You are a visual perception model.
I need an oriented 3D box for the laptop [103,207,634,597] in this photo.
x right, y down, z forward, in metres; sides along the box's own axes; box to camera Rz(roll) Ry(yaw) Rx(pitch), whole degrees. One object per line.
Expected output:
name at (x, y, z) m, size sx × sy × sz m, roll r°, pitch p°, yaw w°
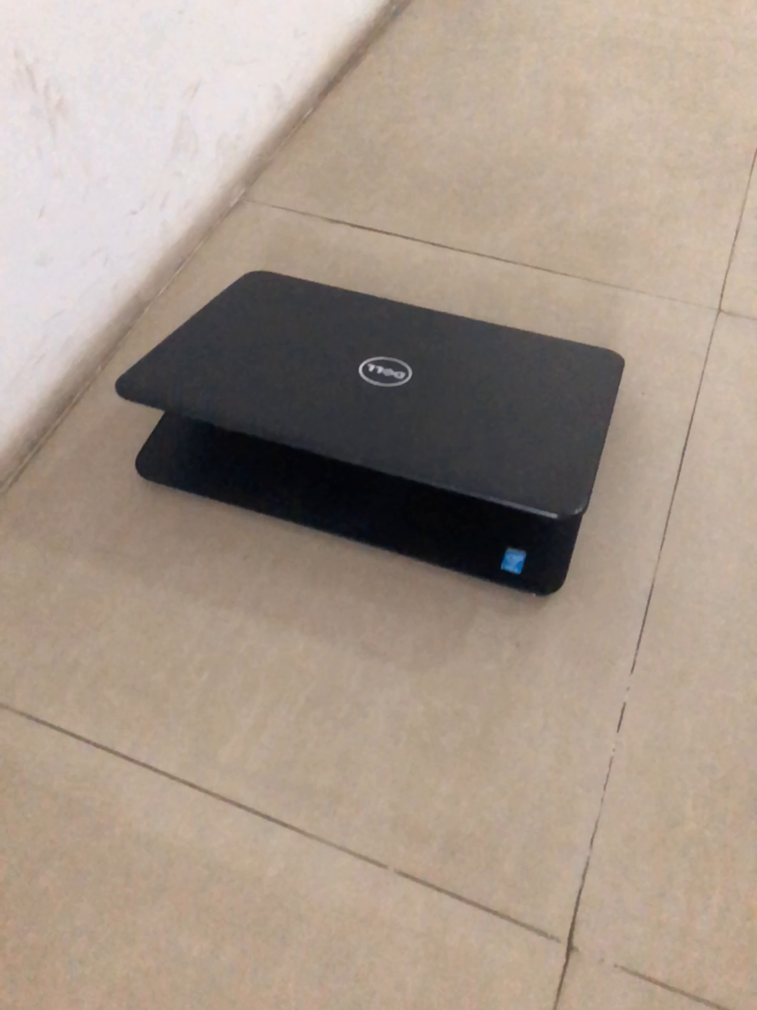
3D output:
laptop at (0.002, -0.101, 0.690) m, size 0.357 × 0.078 × 0.249 m, roll 16°, pitch 59°, yaw 12°
